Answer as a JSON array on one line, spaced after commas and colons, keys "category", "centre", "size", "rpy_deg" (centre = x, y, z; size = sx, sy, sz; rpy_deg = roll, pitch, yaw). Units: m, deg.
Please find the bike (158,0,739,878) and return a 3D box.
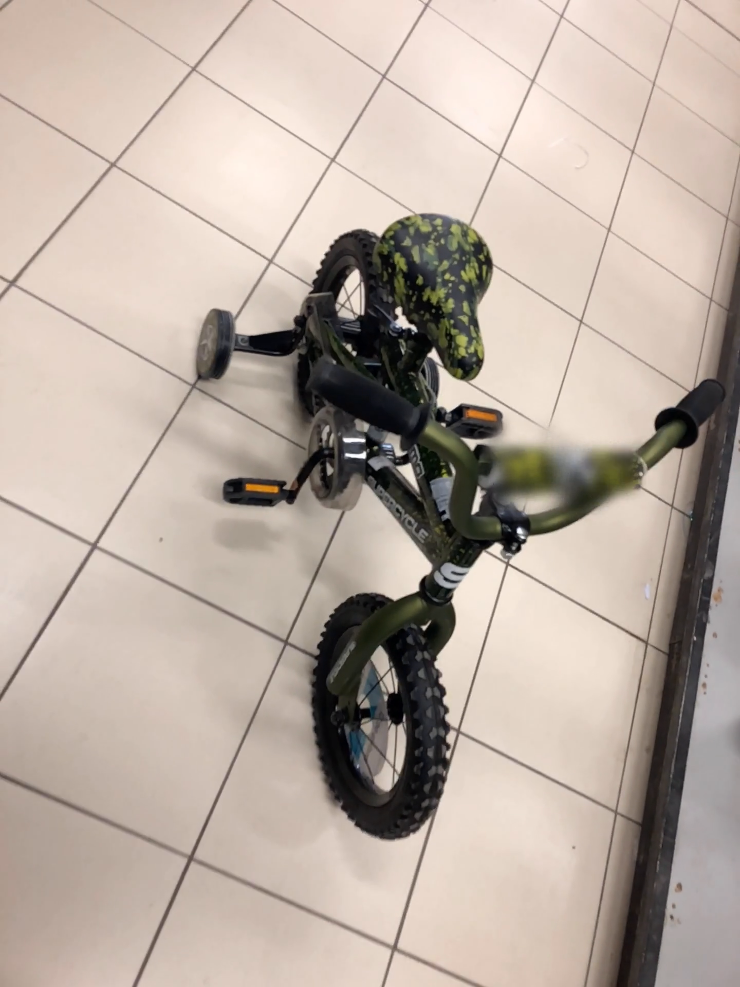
[{"category": "bike", "centre": [0.081, -0.037, 0.960], "size": [0.534, 0.557, 0.817], "rpy_deg": [3, 65, -24]}]
